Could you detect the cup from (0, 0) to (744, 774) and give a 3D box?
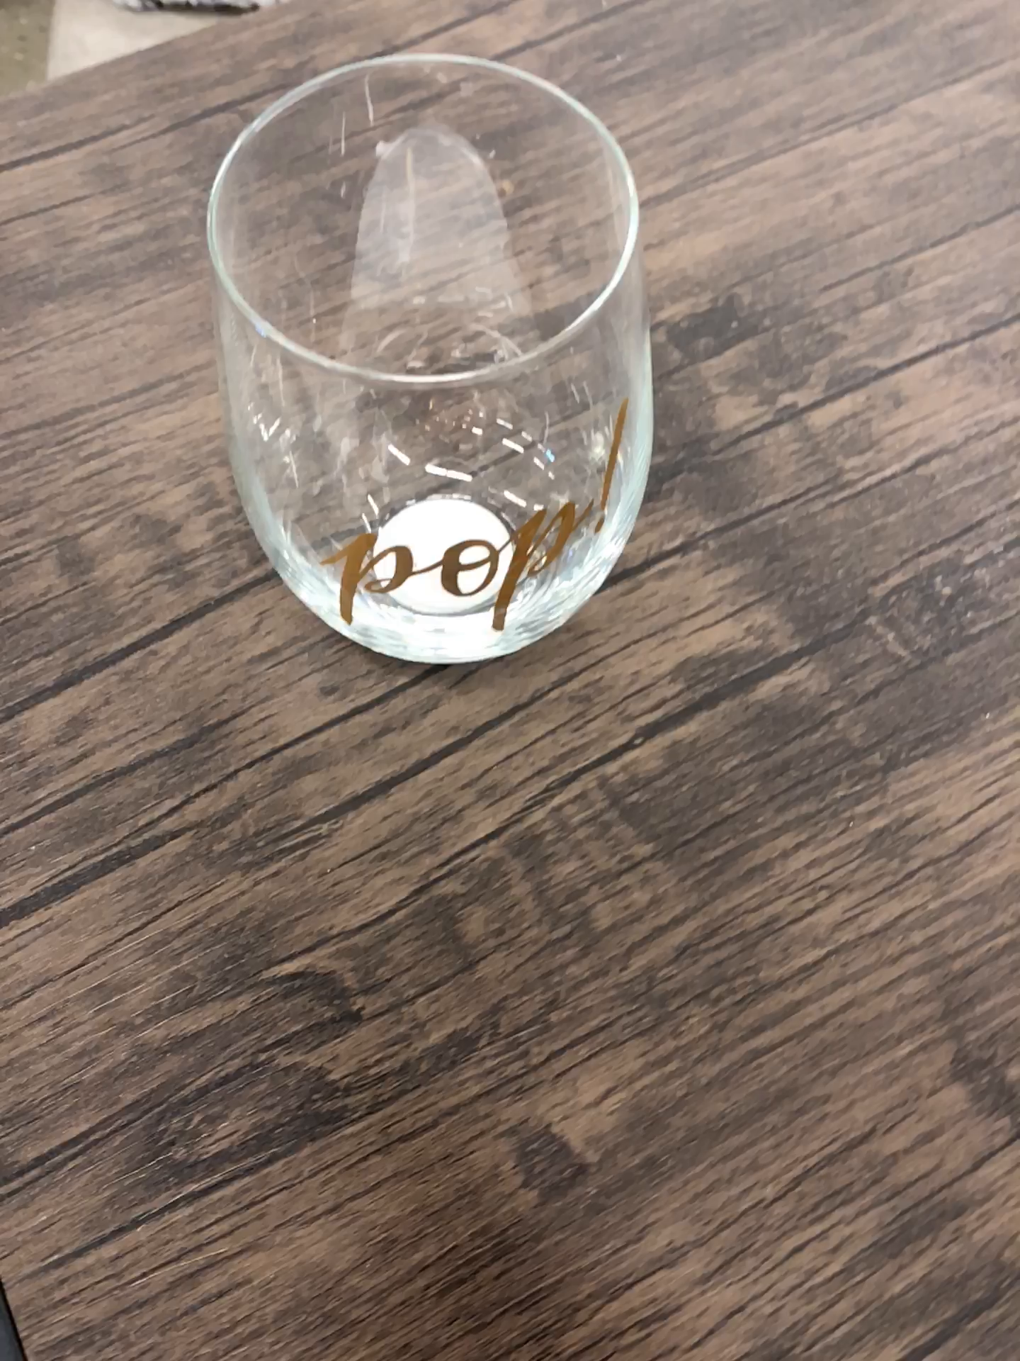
[{"bbox_3d":[-0.021,-0.061,0.242,0.100,0.130,0.100,0,65,0],"label":"cup"}]
